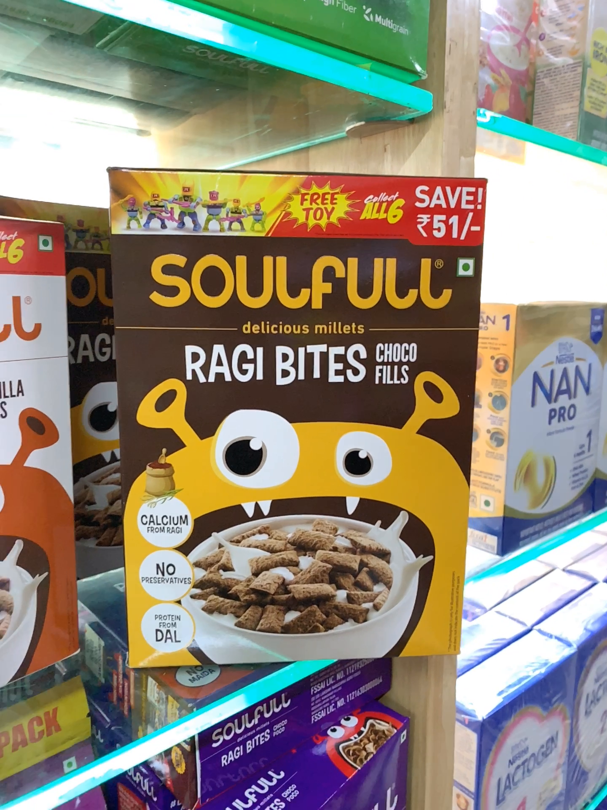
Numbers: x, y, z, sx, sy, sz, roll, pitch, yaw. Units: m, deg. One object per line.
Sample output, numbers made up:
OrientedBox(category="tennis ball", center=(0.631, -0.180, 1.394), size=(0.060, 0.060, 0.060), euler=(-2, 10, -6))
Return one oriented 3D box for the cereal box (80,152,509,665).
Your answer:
OrientedBox(category="cereal box", center=(-0.005, 0.004, 0.327), size=(0.190, 0.239, 0.060), euler=(0, 10, -5))
